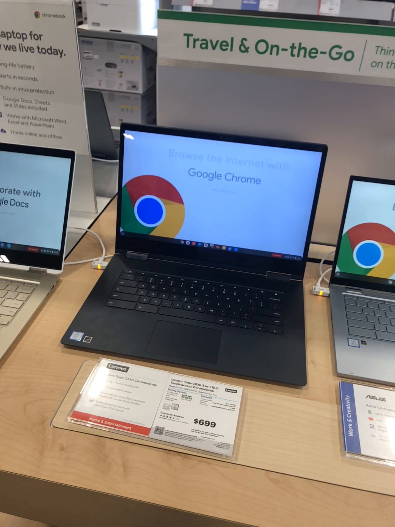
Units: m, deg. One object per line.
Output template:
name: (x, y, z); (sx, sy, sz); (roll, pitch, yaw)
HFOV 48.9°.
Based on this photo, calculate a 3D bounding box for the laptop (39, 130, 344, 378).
laptop: (0.011, -0.037, 0.667); (0.343, 0.230, 0.293); (8, 34, 8)
